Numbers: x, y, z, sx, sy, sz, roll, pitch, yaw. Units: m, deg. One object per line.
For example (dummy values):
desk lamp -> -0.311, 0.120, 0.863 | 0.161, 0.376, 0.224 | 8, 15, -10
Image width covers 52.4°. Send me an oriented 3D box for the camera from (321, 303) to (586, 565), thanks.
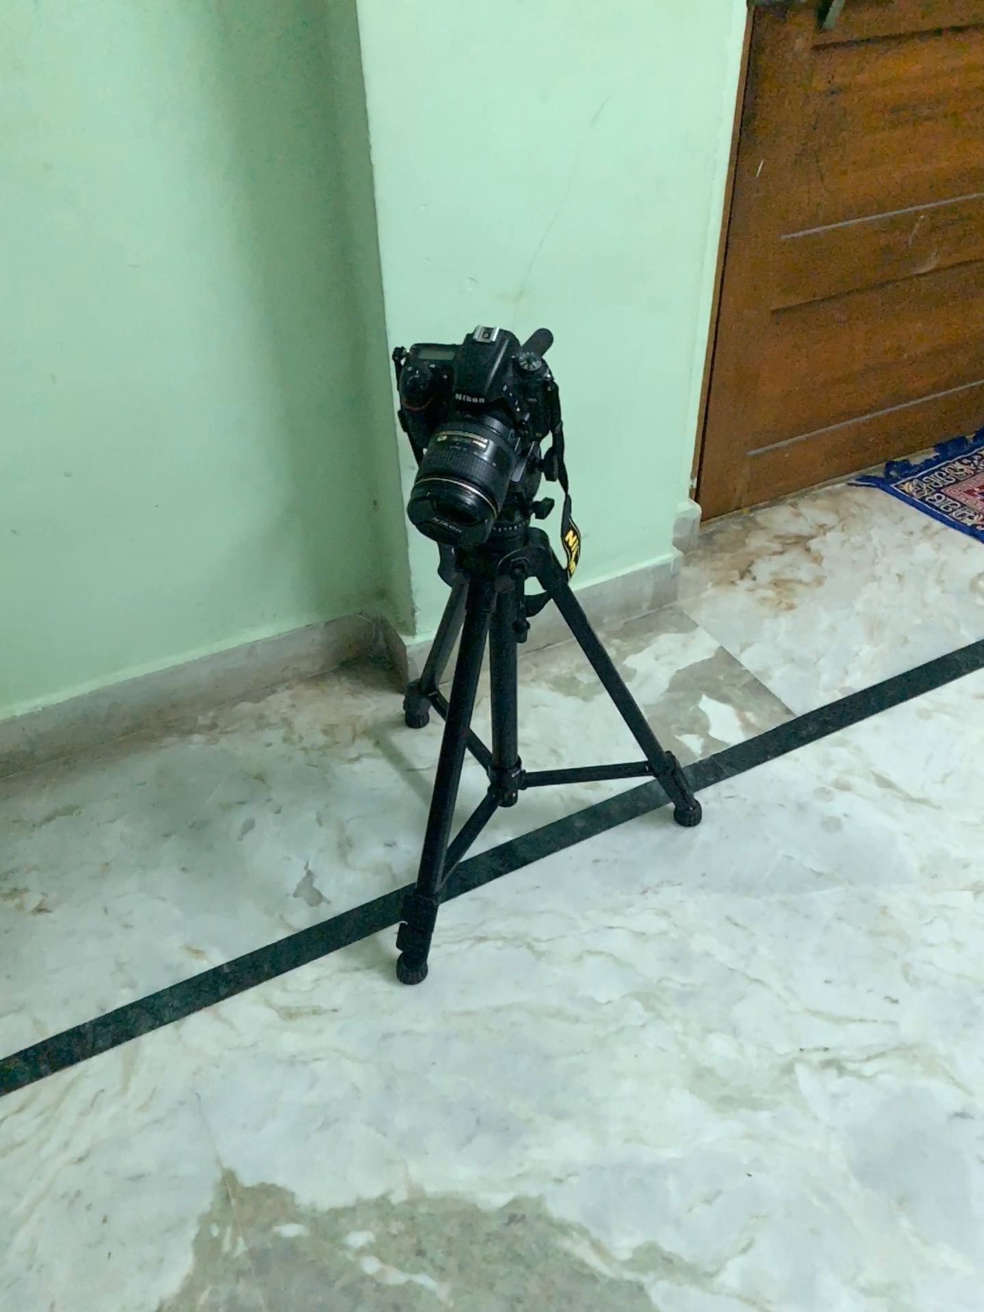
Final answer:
camera -> -0.027, -0.200, 0.895 | 0.170, 0.110, 0.181 | 12, 65, 16
